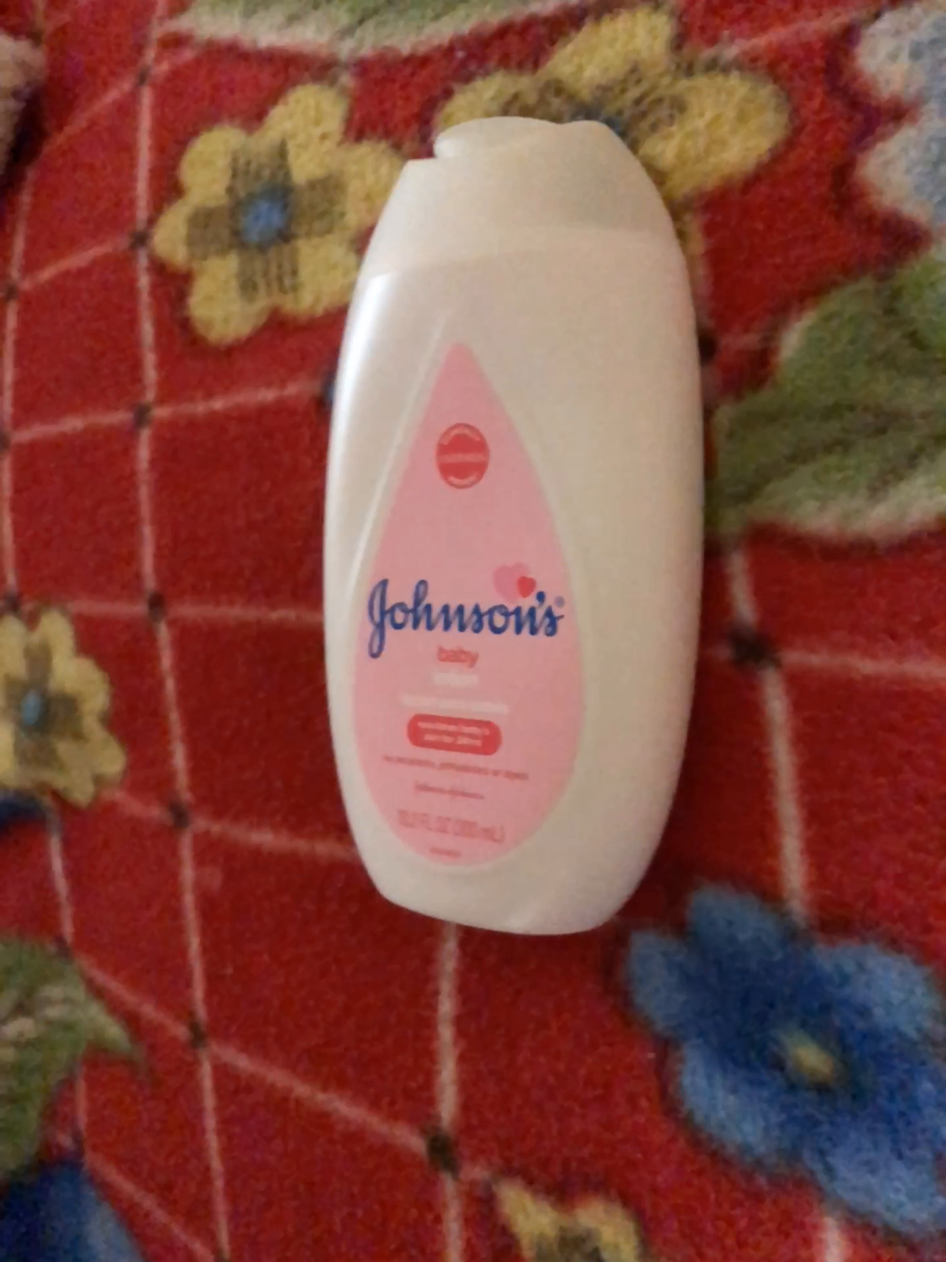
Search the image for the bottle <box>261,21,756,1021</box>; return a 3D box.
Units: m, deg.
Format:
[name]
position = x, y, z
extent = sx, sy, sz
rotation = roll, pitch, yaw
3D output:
[bottle]
position = 0.005, -0.021, 0.215
extent = 0.080, 0.030, 0.170
rotation = 4, 87, 37
